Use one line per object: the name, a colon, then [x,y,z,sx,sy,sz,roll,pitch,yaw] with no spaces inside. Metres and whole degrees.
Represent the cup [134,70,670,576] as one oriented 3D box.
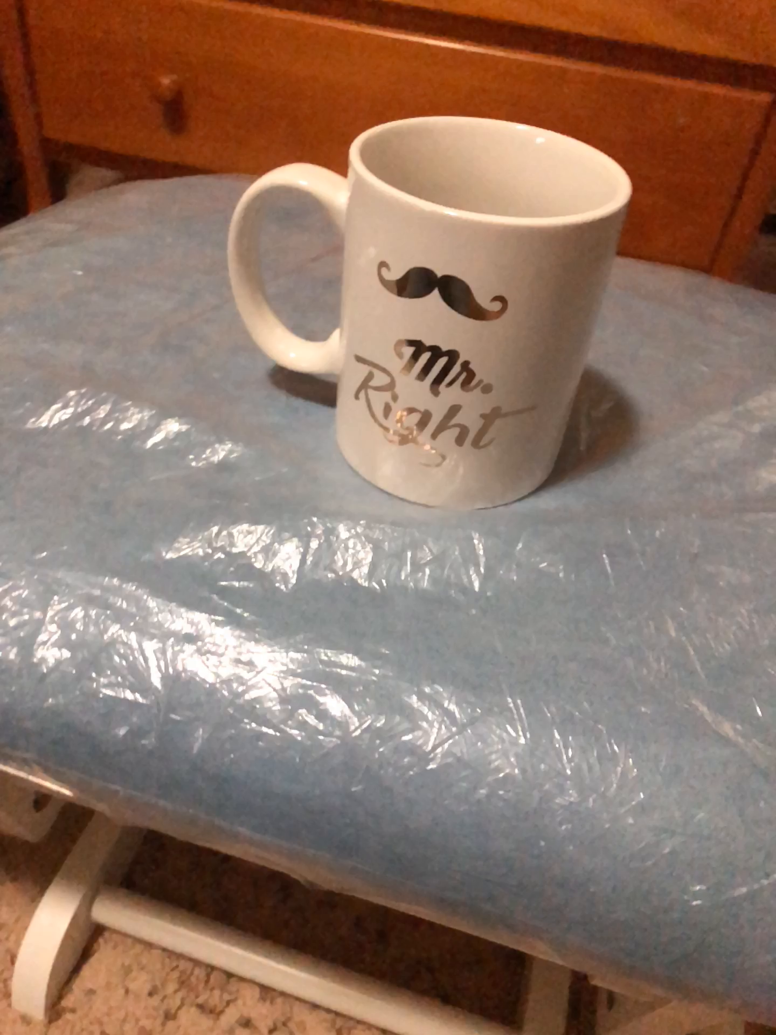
cup: [0.006,-0.072,0.300,0.140,0.110,0.100,18,41,12]
